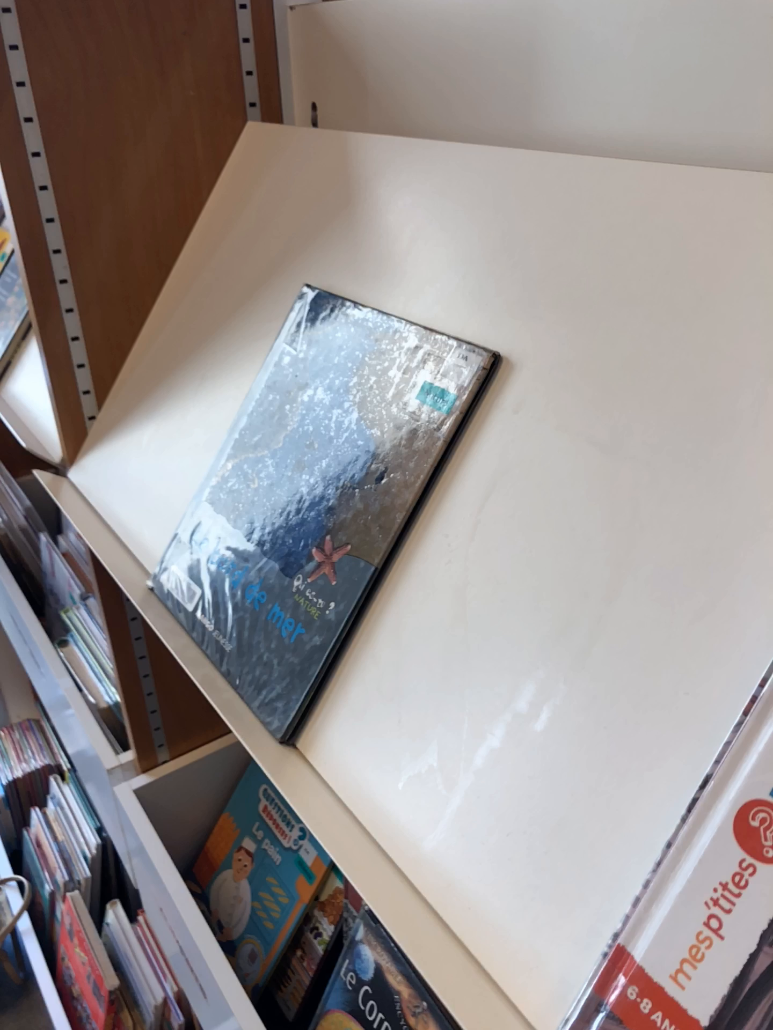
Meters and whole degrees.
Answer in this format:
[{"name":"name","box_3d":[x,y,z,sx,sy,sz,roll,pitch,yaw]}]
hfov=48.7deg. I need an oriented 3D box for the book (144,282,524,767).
[{"name":"book","box_3d":[-0.051,-0.011,0.529,0.020,0.244,0.209,25,6,-41]}]
